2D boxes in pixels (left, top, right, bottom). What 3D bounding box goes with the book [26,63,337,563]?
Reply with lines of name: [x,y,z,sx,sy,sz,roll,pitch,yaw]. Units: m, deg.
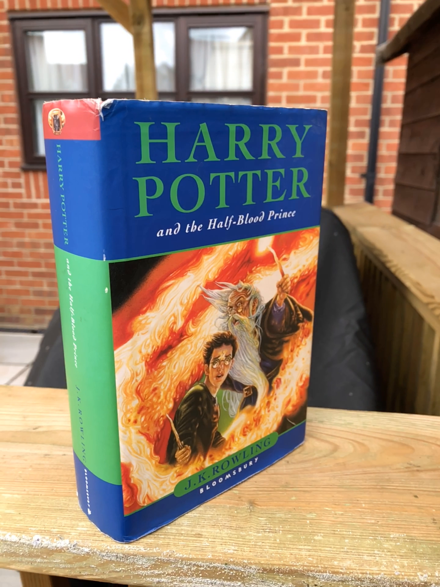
book: [-0.013,0.003,0.262,0.140,0.209,0.060,-12,20,-39]
